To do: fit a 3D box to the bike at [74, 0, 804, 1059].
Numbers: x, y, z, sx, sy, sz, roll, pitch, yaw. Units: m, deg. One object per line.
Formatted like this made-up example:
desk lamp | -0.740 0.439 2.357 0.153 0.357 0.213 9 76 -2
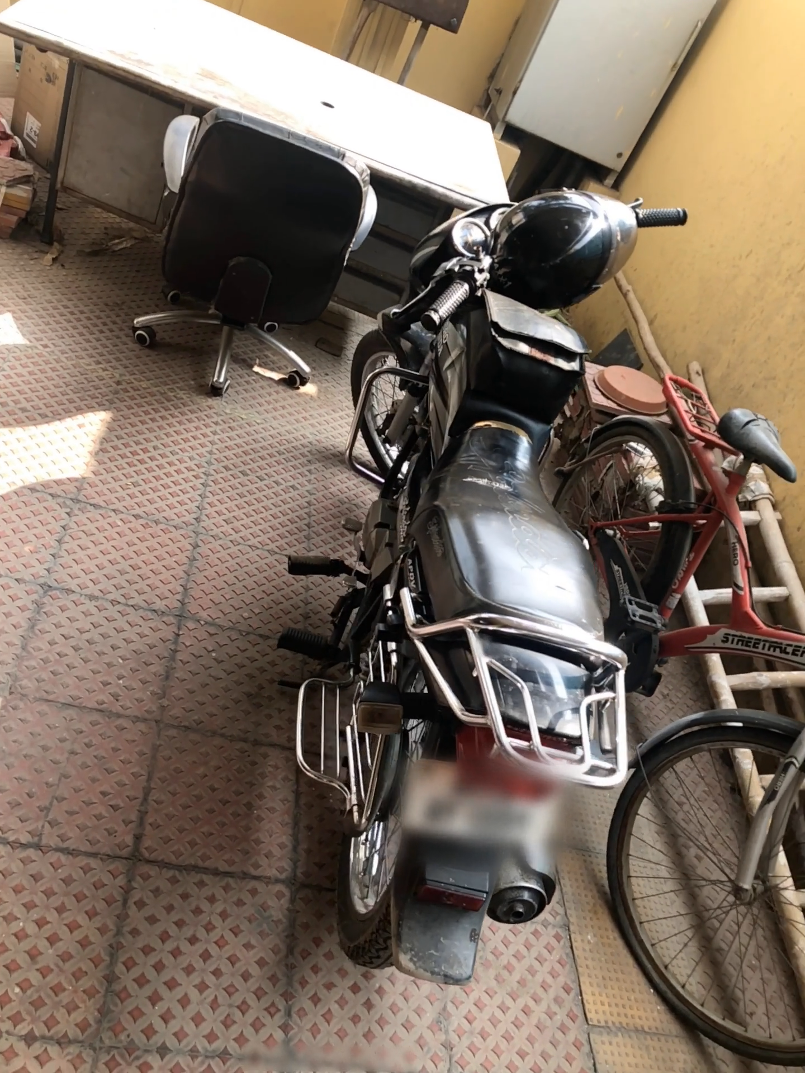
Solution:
bike | -0.035 -0.145 1.682 0.713 1.028 1.623 15 38 -18
